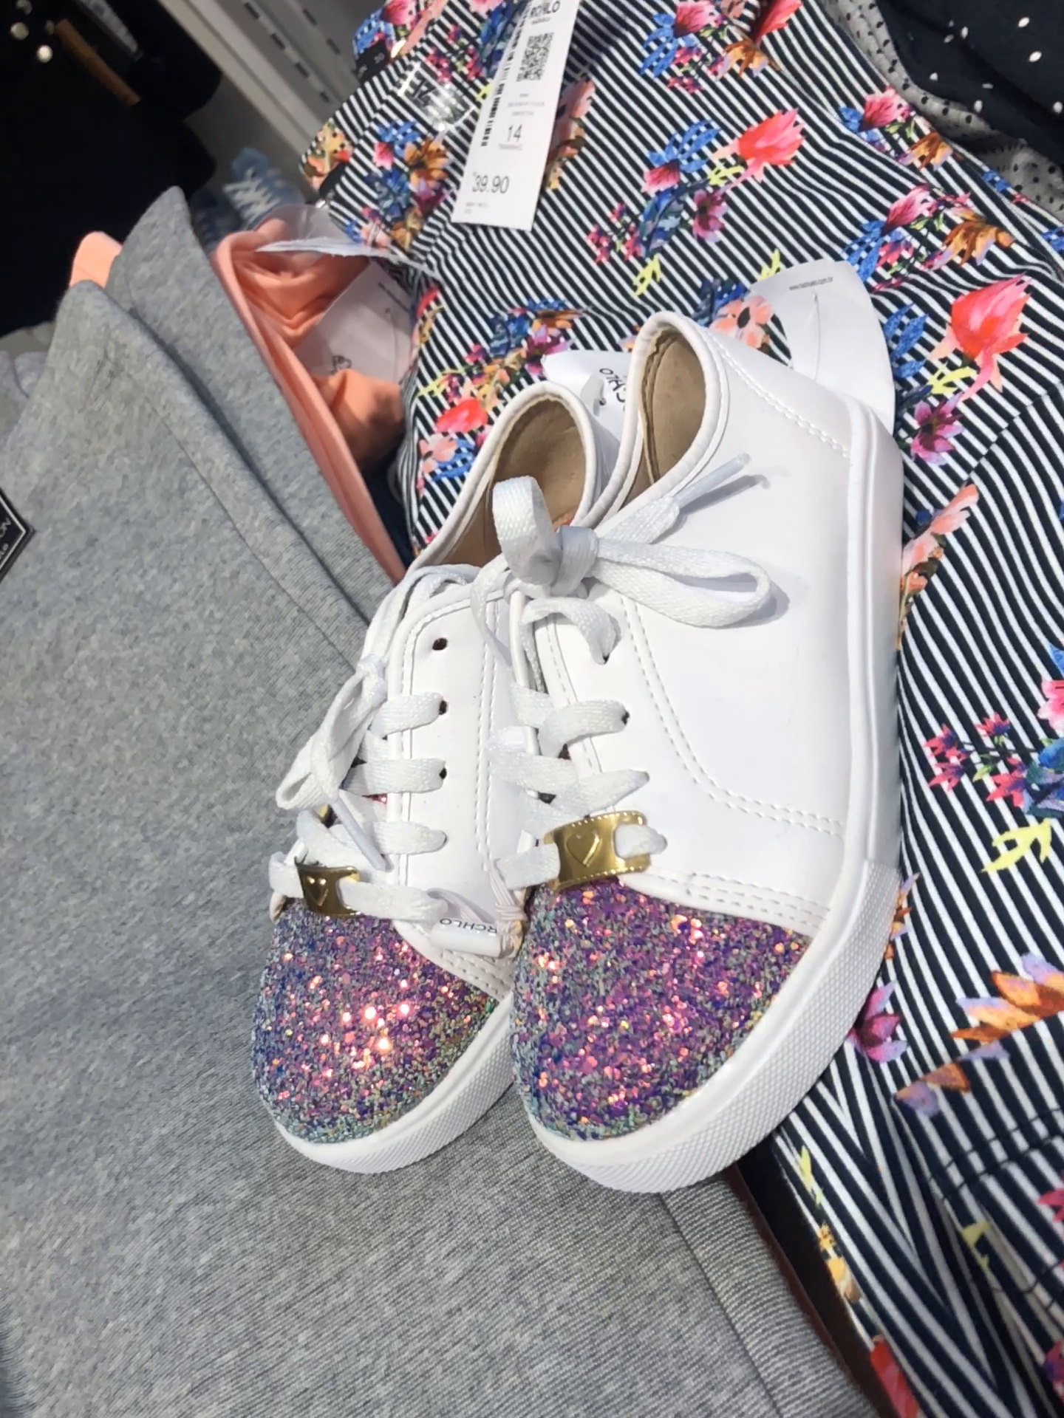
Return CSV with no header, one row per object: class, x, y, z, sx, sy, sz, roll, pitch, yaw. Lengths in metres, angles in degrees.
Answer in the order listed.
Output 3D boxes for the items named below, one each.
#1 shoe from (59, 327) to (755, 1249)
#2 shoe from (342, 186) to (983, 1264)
shoe,-0.021,0.013,0.284,0.080,0.070,0.190,4,65,38
shoe,0.038,-0.001,0.256,0.080,0.070,0.200,-9,57,41
